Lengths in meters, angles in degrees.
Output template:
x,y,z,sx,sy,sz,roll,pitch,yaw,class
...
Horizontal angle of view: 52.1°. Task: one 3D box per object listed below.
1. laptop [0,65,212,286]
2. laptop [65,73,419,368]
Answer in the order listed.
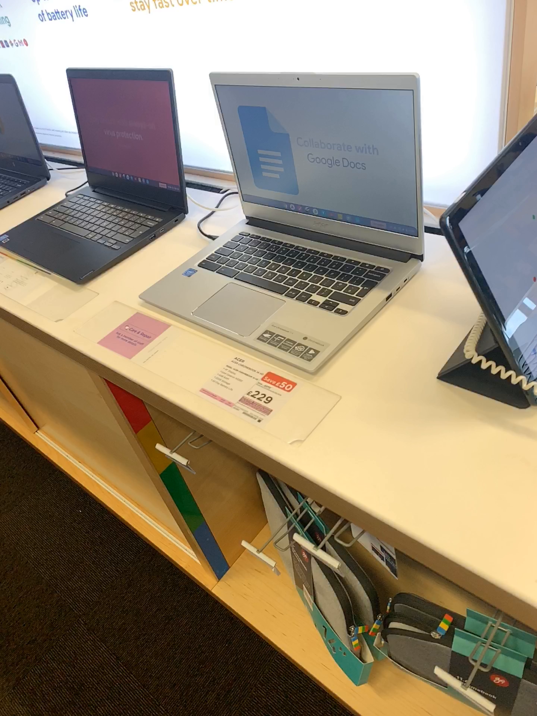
x,y,z,sx,sy,sz,roll,pitch,yaw,class
-0.328,-0.322,0.916,0.309,0.204,0.283,25,56,38,laptop
-0.020,-0.186,0.653,0.304,0.206,0.237,22,53,36,laptop
